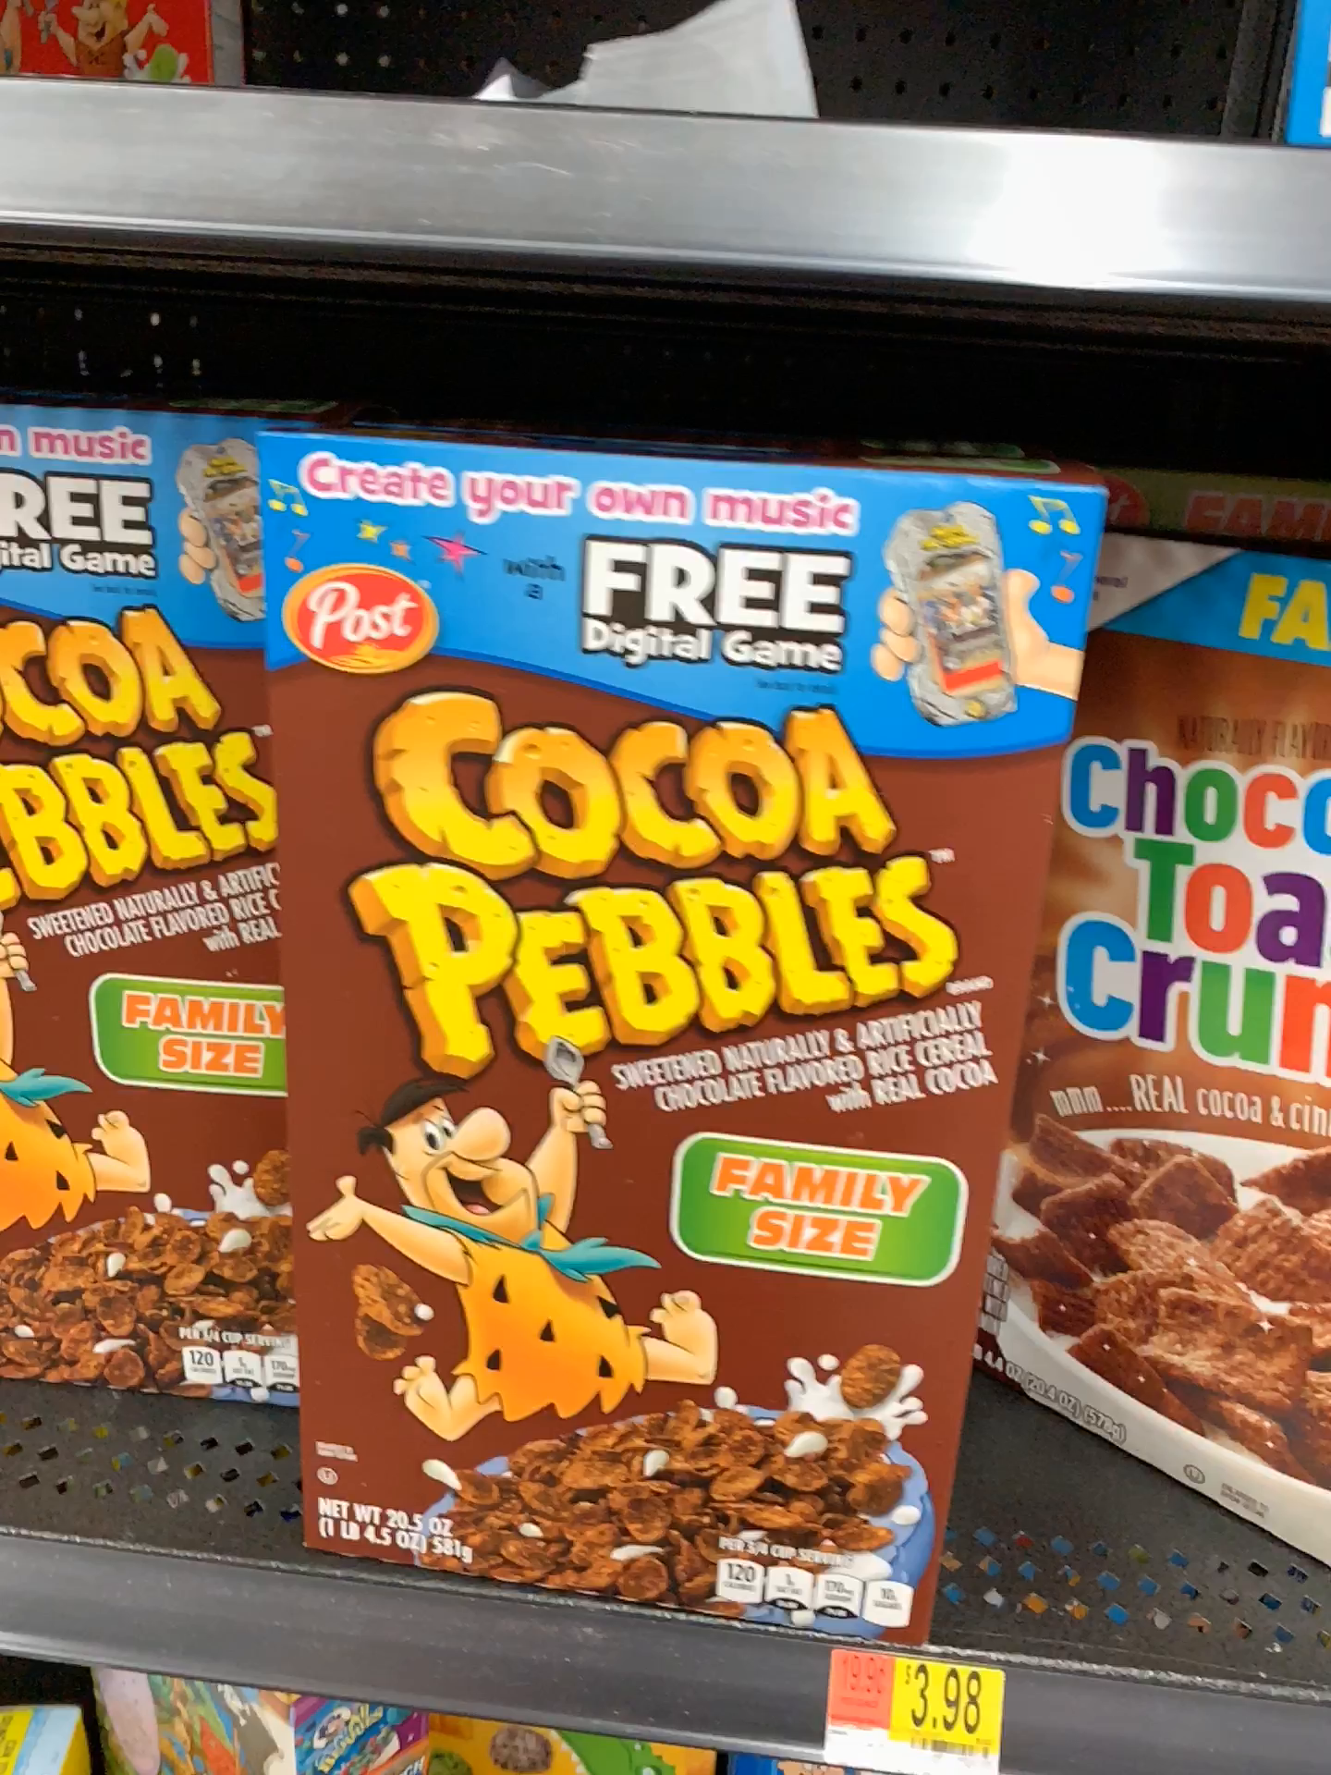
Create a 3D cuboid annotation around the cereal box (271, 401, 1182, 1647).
[{"bbox_3d":[0.003,0.045,0.383,0.200,0.329,0.060,6,20,6],"label":"cereal box"}]
